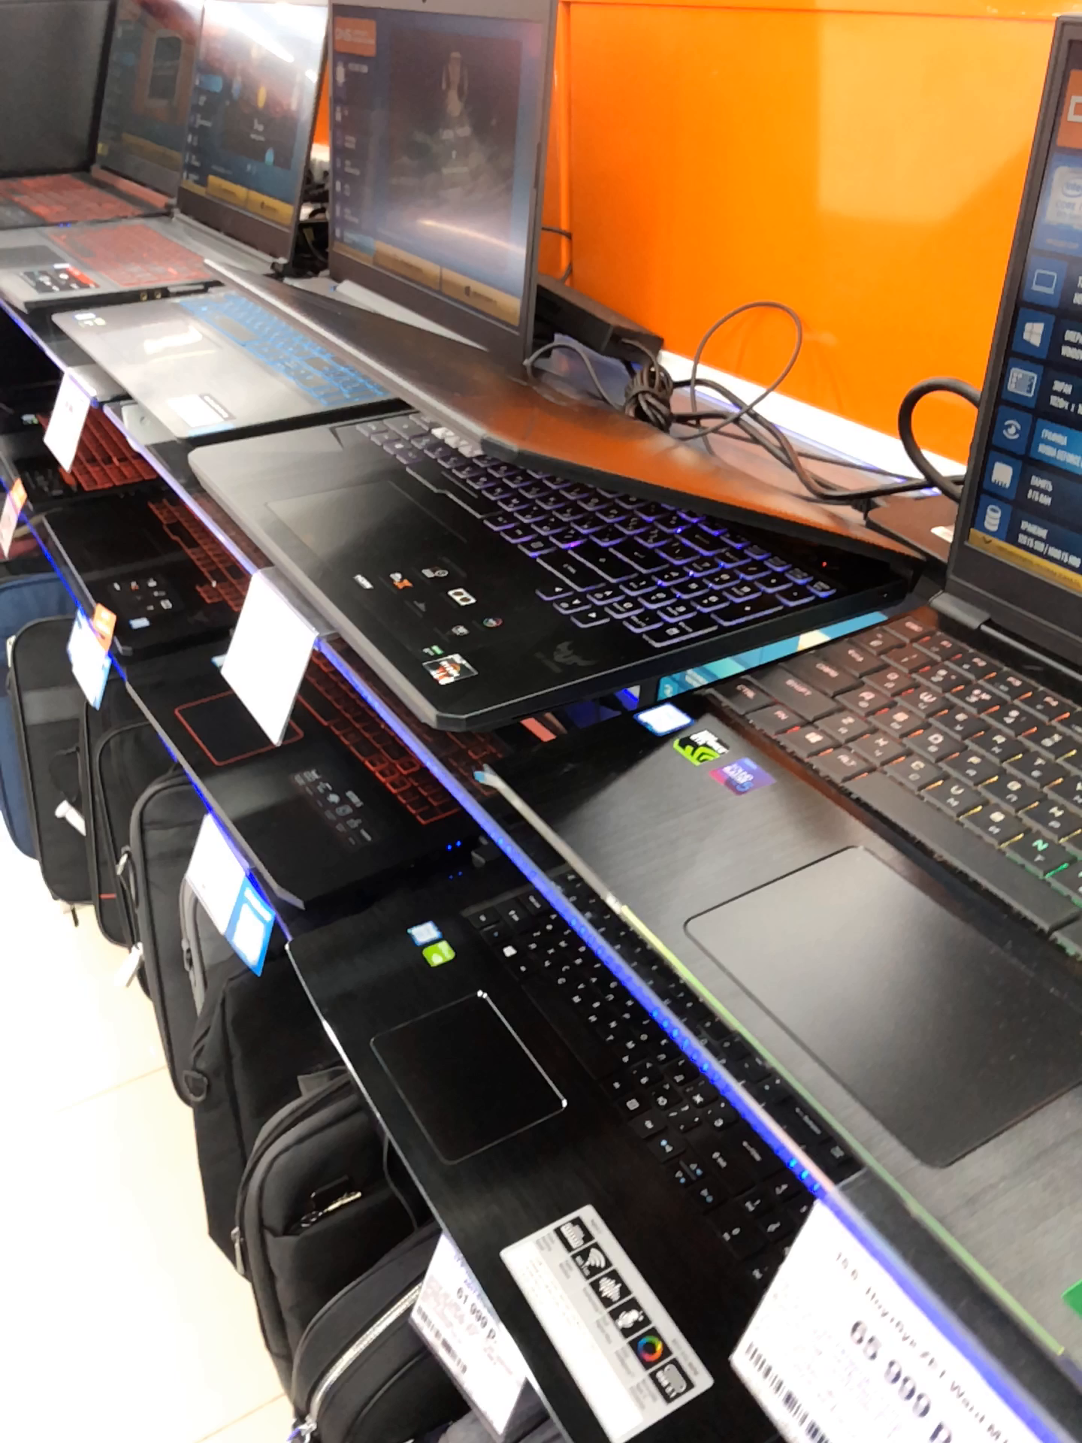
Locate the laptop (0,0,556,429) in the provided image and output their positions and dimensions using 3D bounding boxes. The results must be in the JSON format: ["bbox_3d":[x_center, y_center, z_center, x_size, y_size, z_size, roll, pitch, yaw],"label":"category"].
[{"bbox_3d":[-0.200,-0.415,0.904,0.283,0.235,0.358,-19,37,-26],"label":"laptop"}]

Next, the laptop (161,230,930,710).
[{"bbox_3d":[-0.020,-0.163,0.634,0.240,0.106,0.348,-19,37,-26],"label":"laptop"}]
